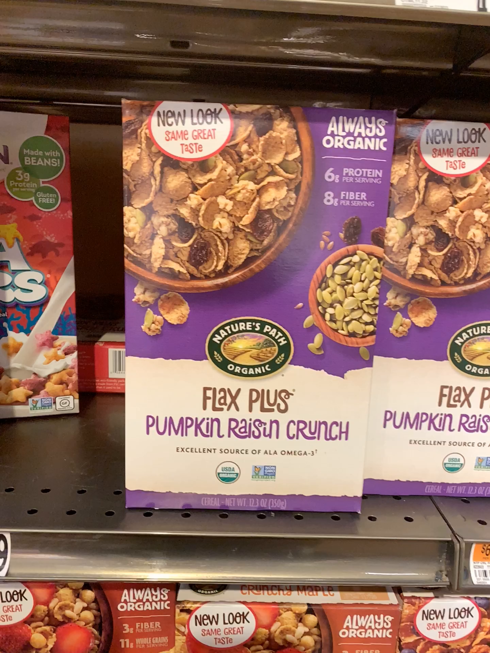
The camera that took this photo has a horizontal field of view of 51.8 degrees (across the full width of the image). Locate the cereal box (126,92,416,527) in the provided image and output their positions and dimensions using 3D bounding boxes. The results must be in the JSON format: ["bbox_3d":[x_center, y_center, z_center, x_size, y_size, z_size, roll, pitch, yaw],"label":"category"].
[{"bbox_3d":[0.011,-0.005,0.341,0.170,0.269,0.050,2,9,-1],"label":"cereal box"}]
